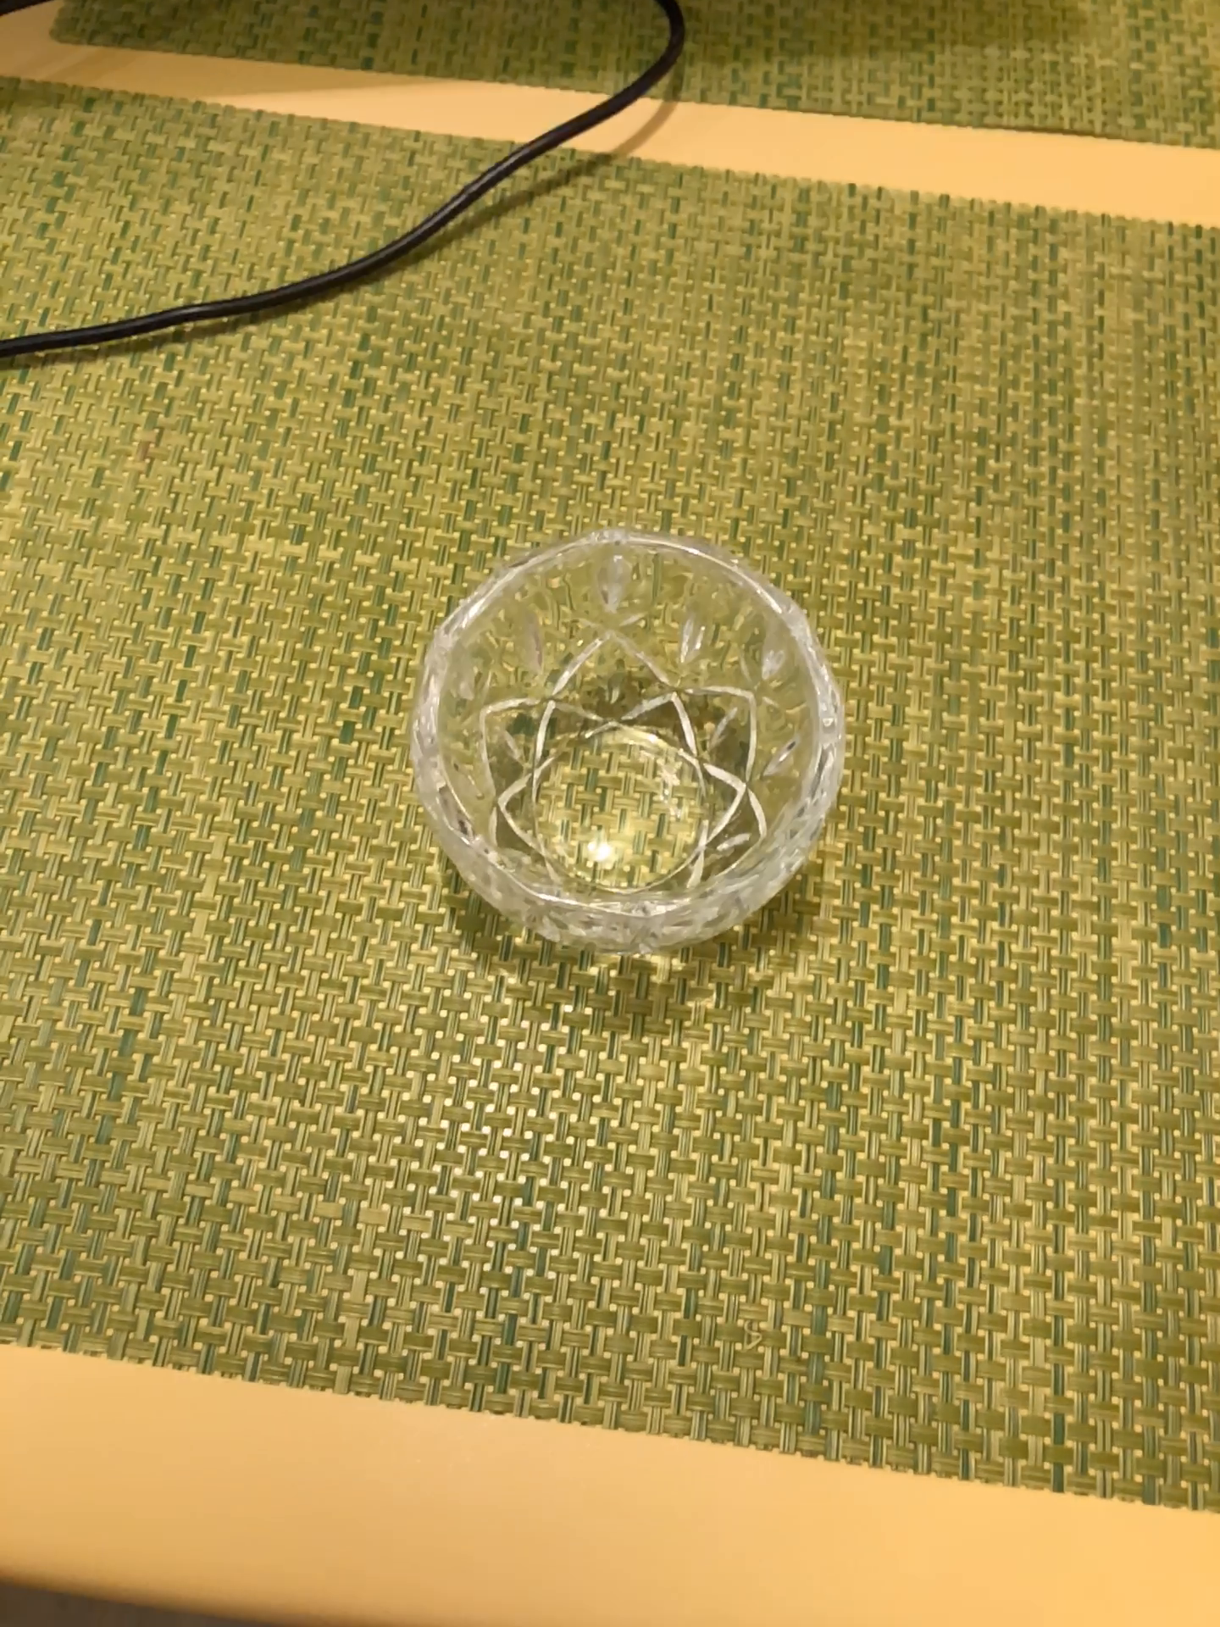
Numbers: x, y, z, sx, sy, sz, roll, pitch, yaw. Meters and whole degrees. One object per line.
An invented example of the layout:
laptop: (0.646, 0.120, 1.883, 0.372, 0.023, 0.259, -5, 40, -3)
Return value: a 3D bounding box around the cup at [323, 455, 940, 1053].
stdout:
cup: (0.005, -0.010, 0.242, 0.080, 0.045, 0.072, 22, 71, 7)
